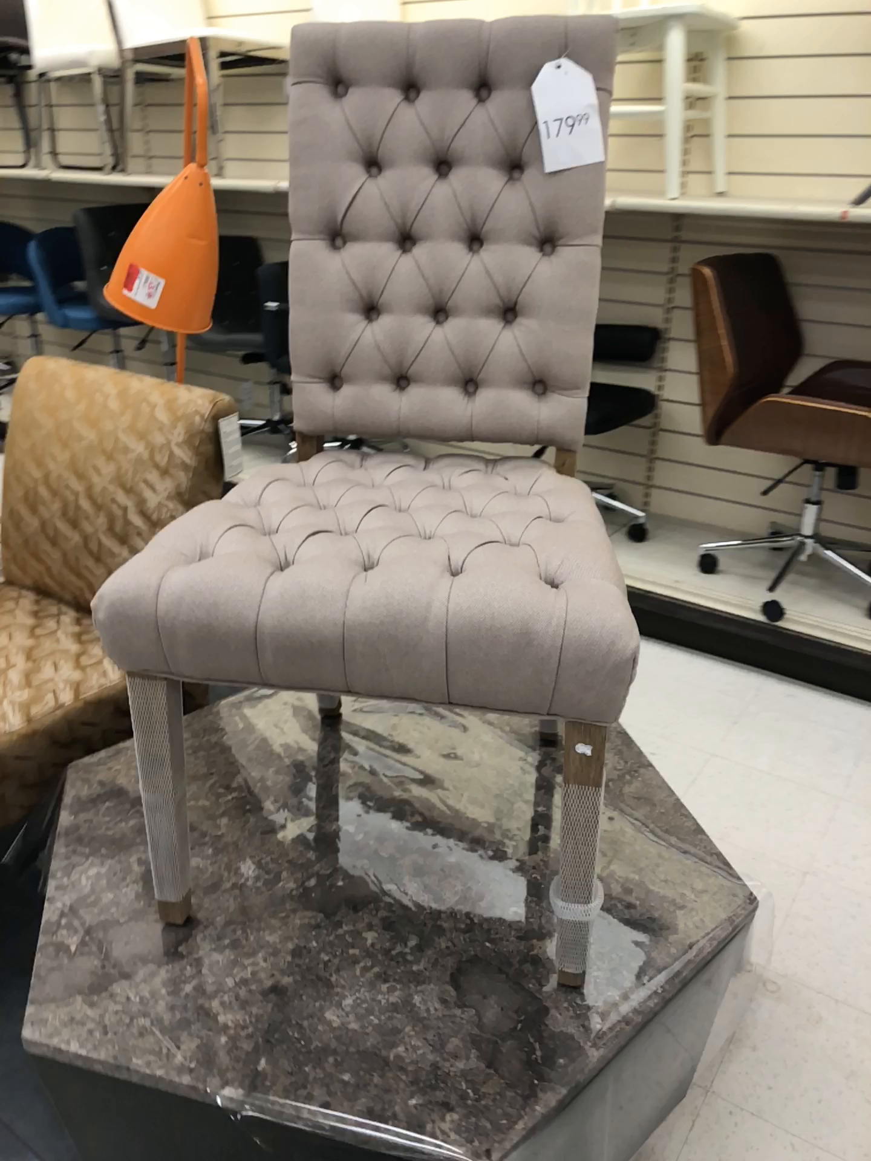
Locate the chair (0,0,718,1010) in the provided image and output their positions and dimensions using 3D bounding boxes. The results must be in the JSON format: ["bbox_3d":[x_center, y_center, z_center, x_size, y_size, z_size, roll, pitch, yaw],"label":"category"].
[{"bbox_3d":[-0.039,-0.129,1.193,0.570,1.046,0.582,5,24,9],"label":"chair"}]
